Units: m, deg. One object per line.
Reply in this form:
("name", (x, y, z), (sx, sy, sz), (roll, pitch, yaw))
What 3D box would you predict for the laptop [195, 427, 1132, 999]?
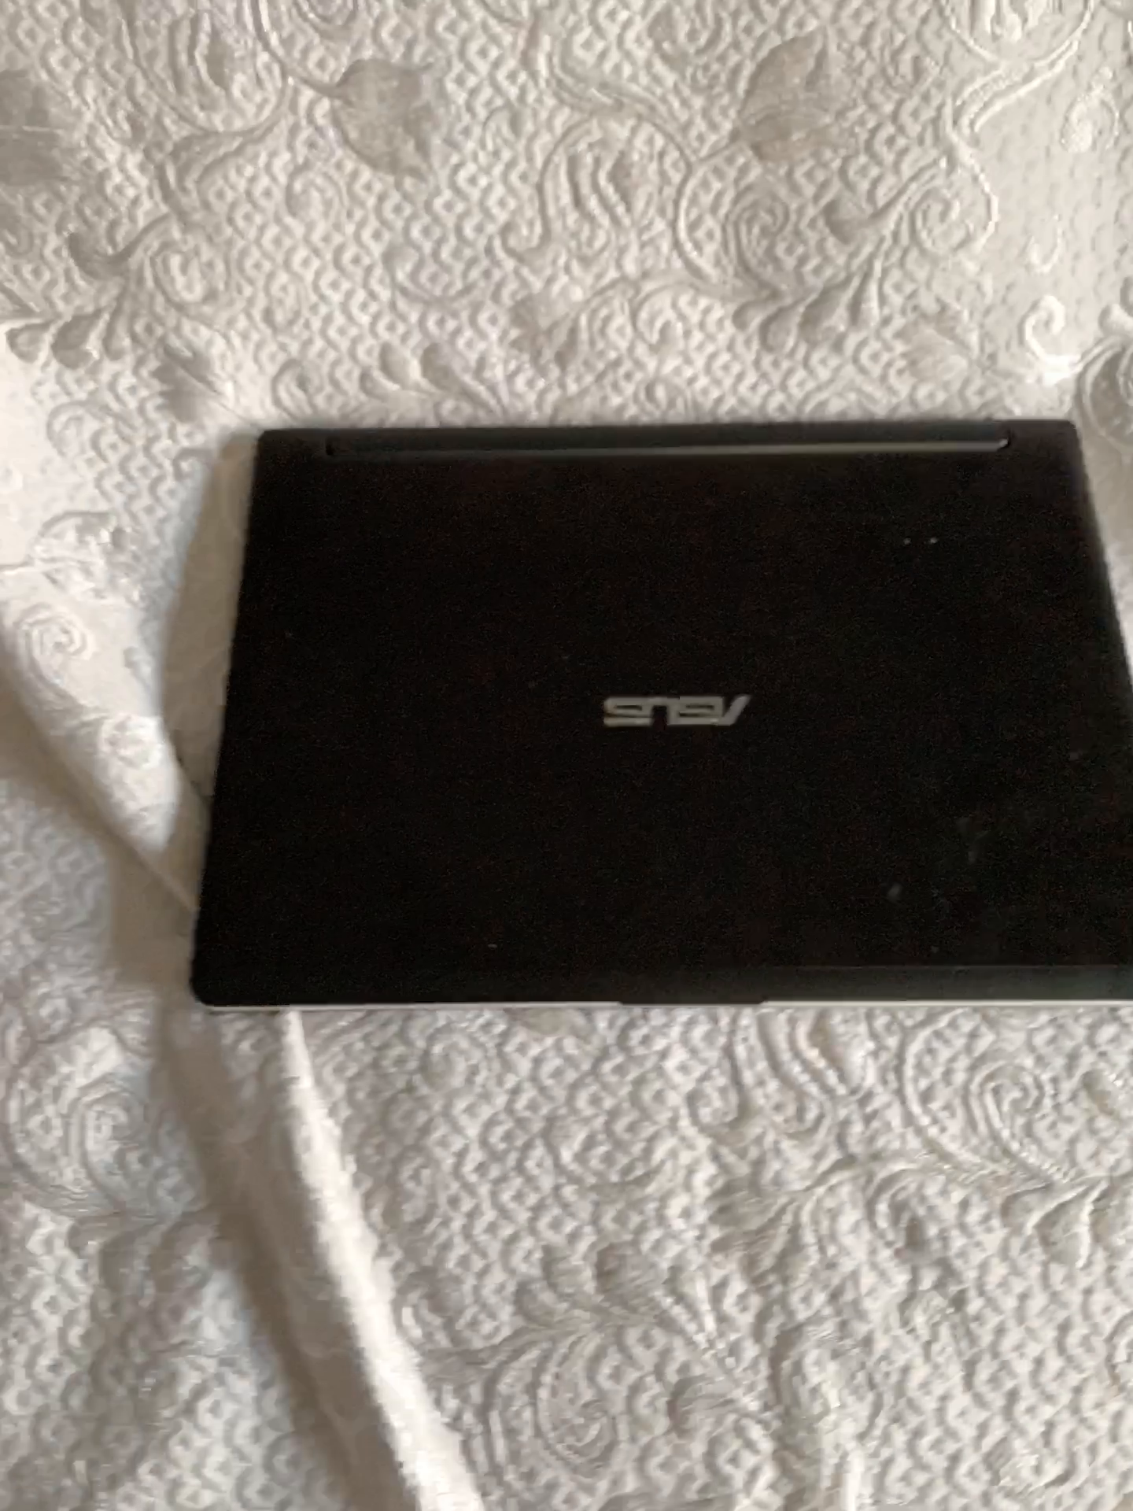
("laptop", (0.042, -0.027, 0.437), (0.333, 0.001, 0.232), (0, 67, 0))
